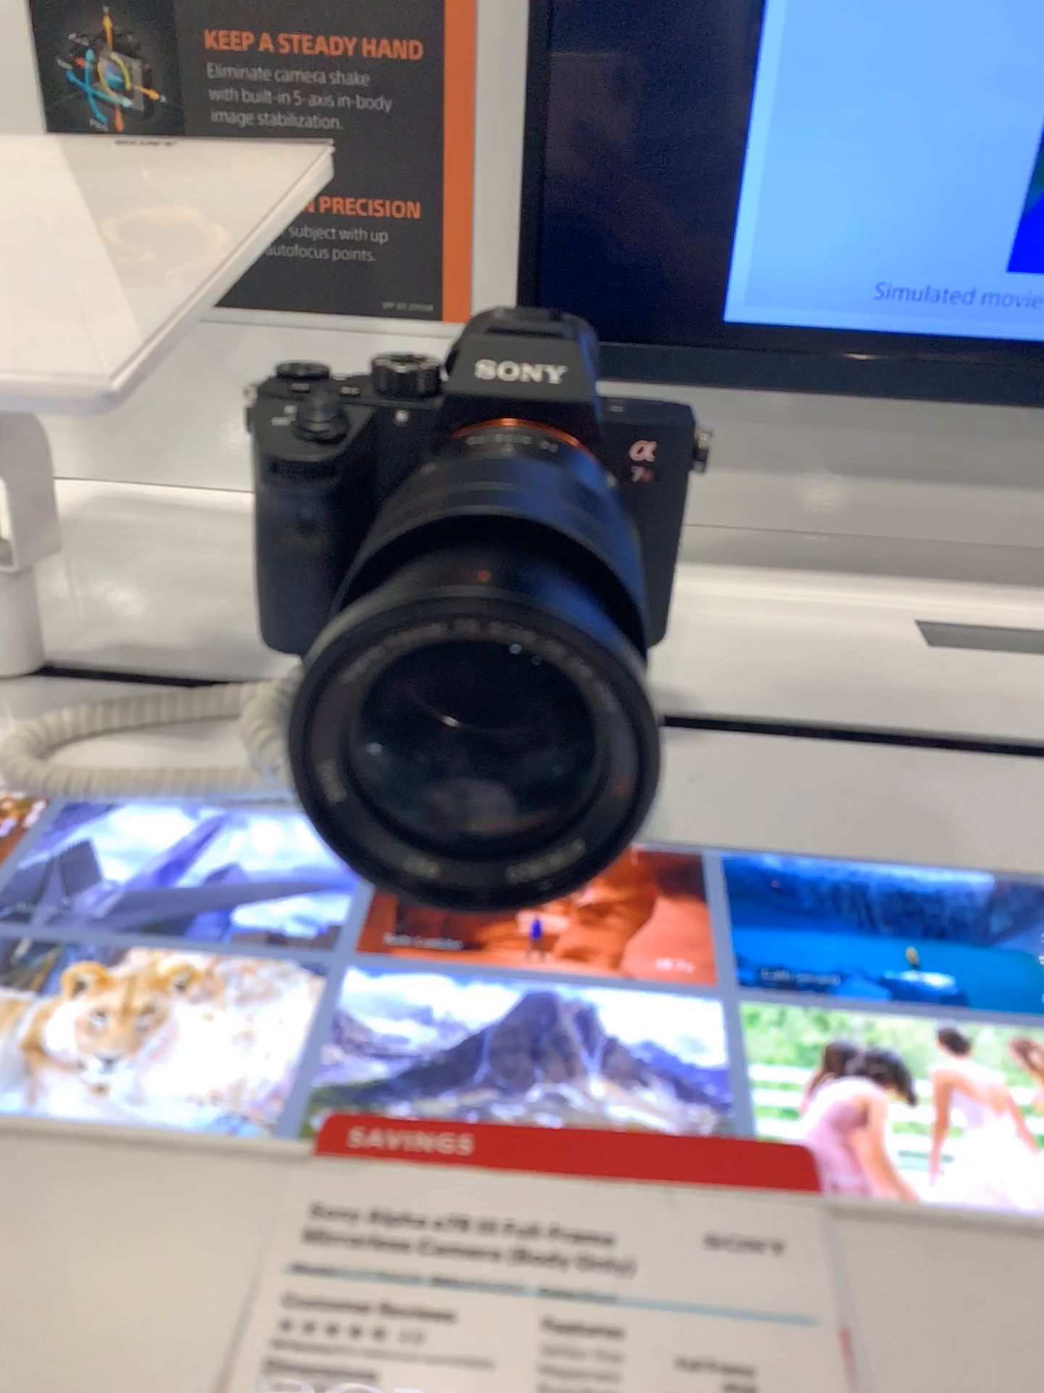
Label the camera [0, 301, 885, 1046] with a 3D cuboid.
[{"bbox_3d":[-0.010,-0.027,0.263,0.130,0.099,0.194,2,30,1],"label":"camera"}]
